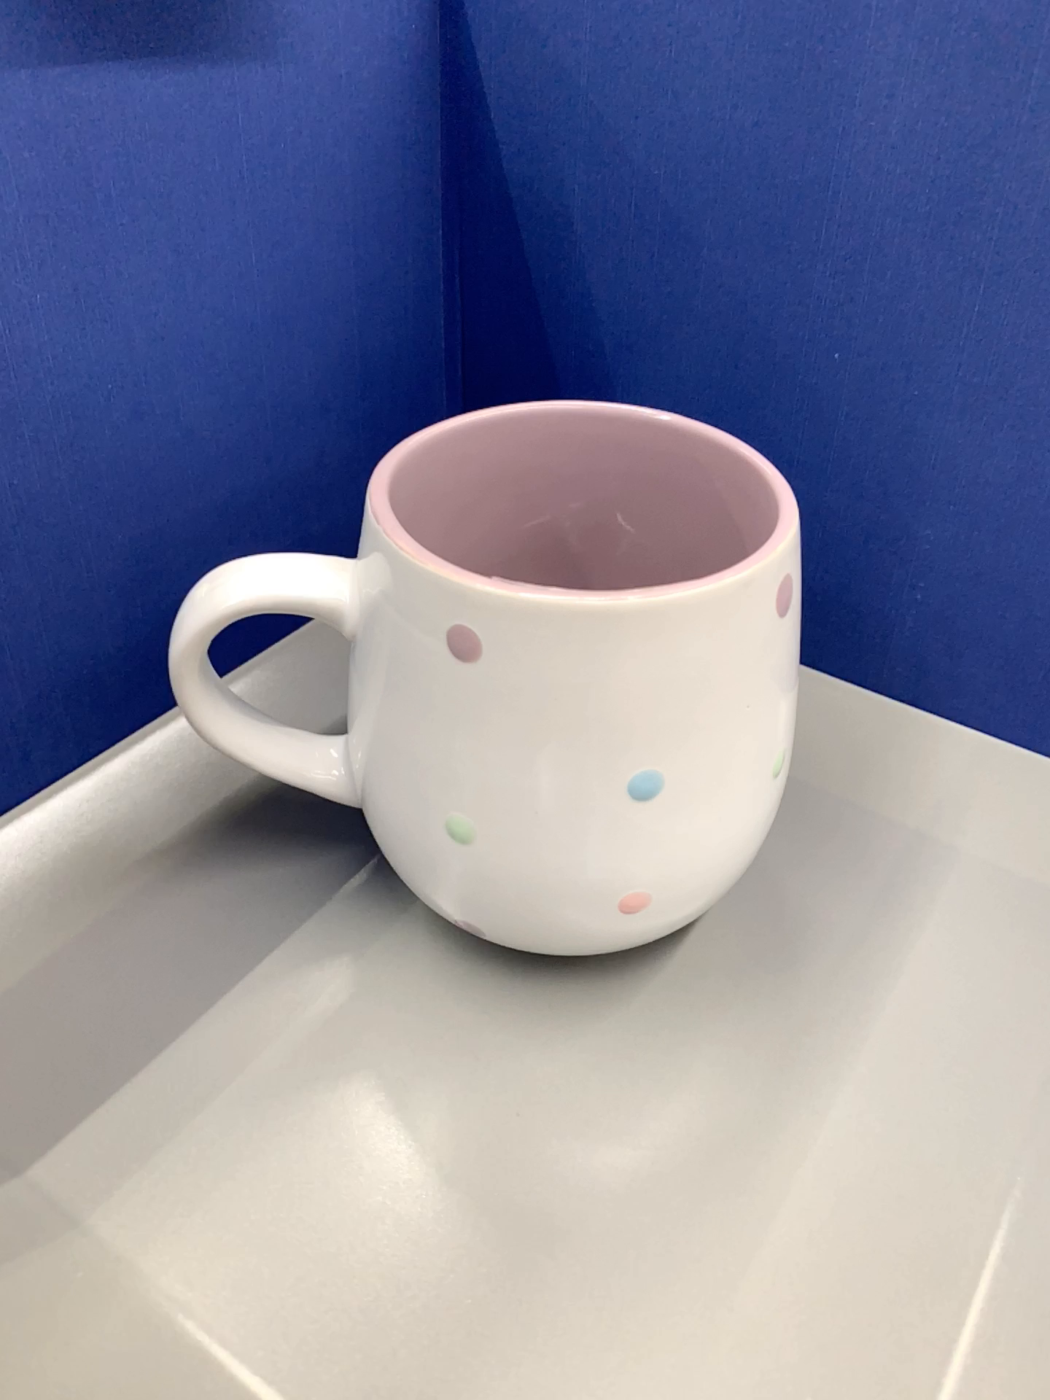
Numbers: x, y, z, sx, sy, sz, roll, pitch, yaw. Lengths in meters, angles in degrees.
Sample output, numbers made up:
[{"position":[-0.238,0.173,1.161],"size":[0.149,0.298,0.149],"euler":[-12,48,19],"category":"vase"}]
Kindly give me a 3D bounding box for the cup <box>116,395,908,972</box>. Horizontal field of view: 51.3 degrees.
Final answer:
[{"position":[-0.004,-0.007,0.244],"size":[0.130,0.088,0.097],"euler":[1,35,-2],"category":"cup"}]
